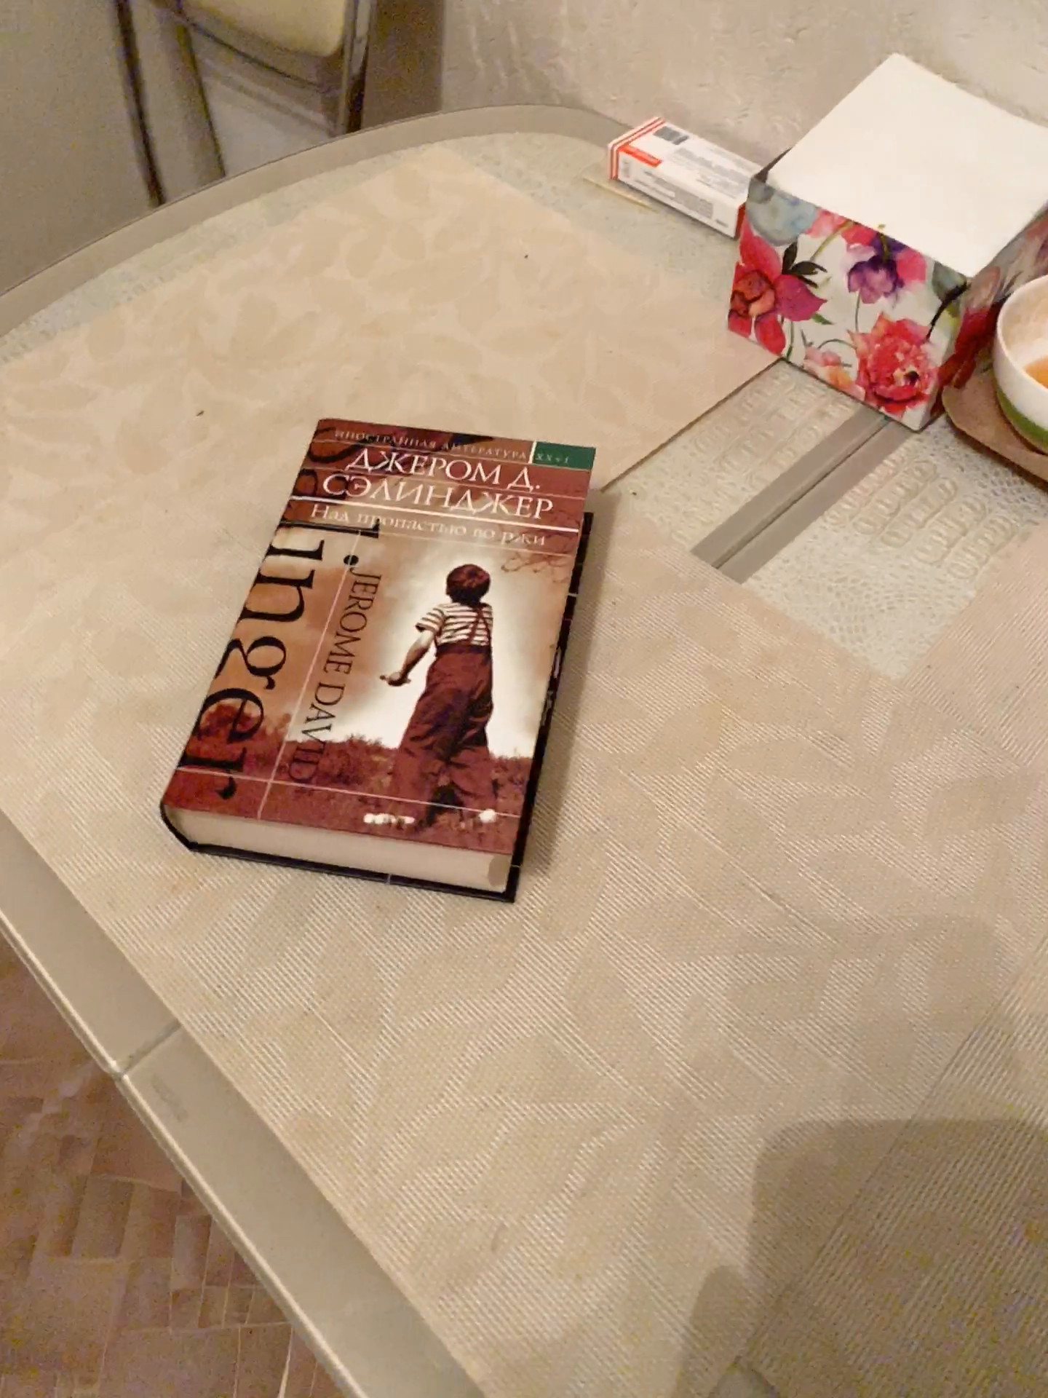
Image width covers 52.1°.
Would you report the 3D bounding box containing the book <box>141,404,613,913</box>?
[{"bbox_3d":[-0.051,-0.029,0.478,0.150,0.049,0.221,8,58,7],"label":"book"}]
